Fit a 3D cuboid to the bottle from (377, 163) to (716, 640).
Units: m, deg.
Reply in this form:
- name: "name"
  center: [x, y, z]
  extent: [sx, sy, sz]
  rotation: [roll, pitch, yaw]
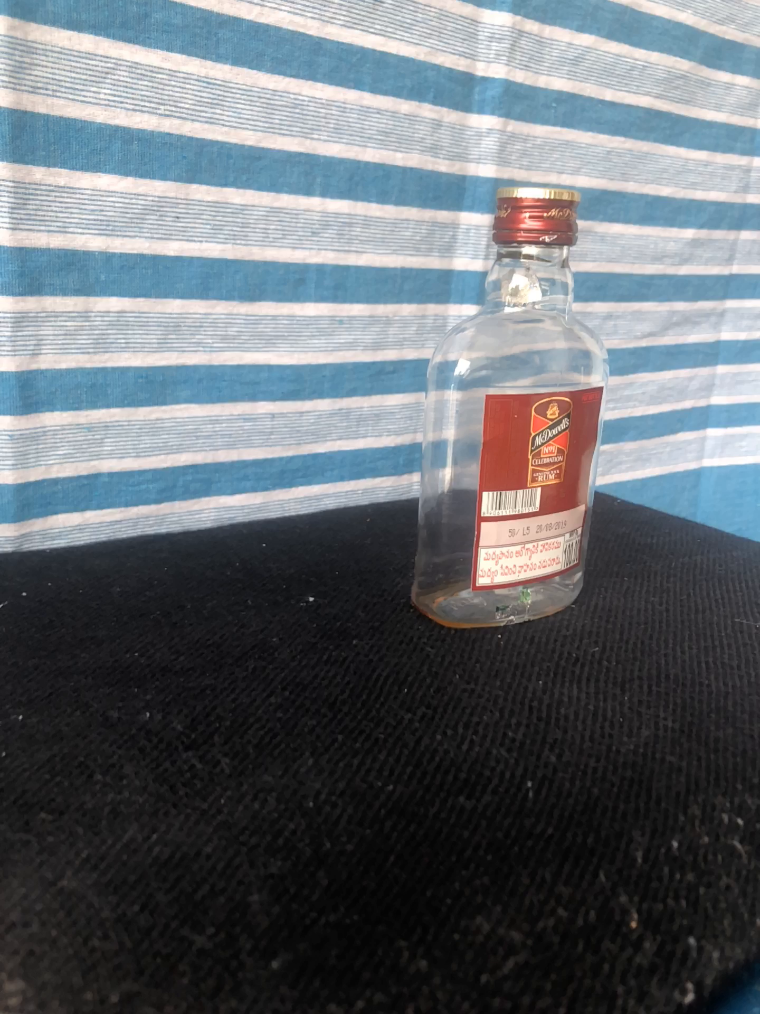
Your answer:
- name: "bottle"
  center: [0.050, -0.033, 0.265]
  extent: [0.080, 0.129, 0.040]
  rotation: [-6, 21, -36]
